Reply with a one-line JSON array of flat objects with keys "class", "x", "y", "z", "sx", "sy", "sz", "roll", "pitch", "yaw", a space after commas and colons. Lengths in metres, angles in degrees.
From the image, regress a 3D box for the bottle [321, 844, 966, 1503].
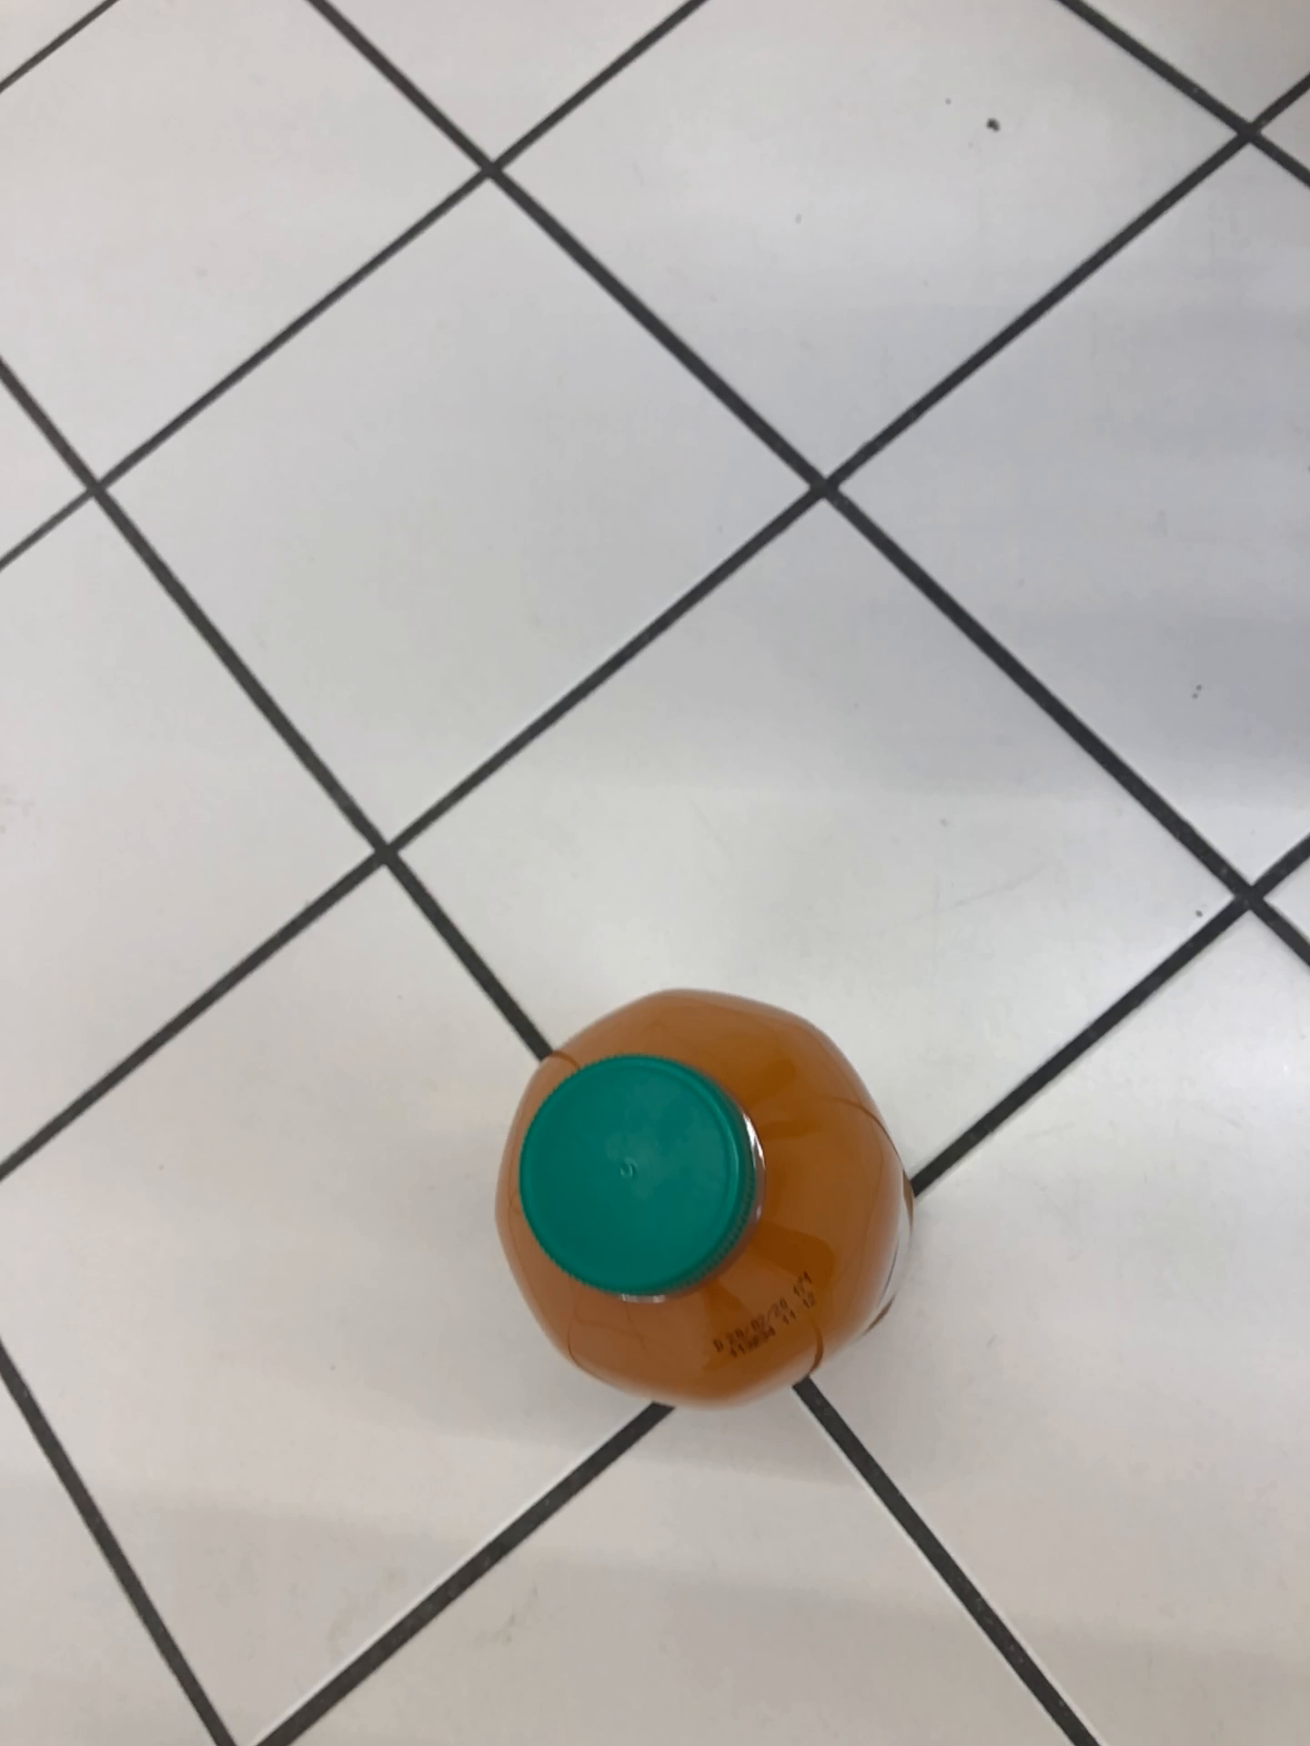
[{"class": "bottle", "x": 0.017, "y": 0.076, "z": 0.347, "sx": 0.100, "sy": 0.210, "sz": 0.100, "roll": -3, "pitch": 73, "yaw": 10}]
